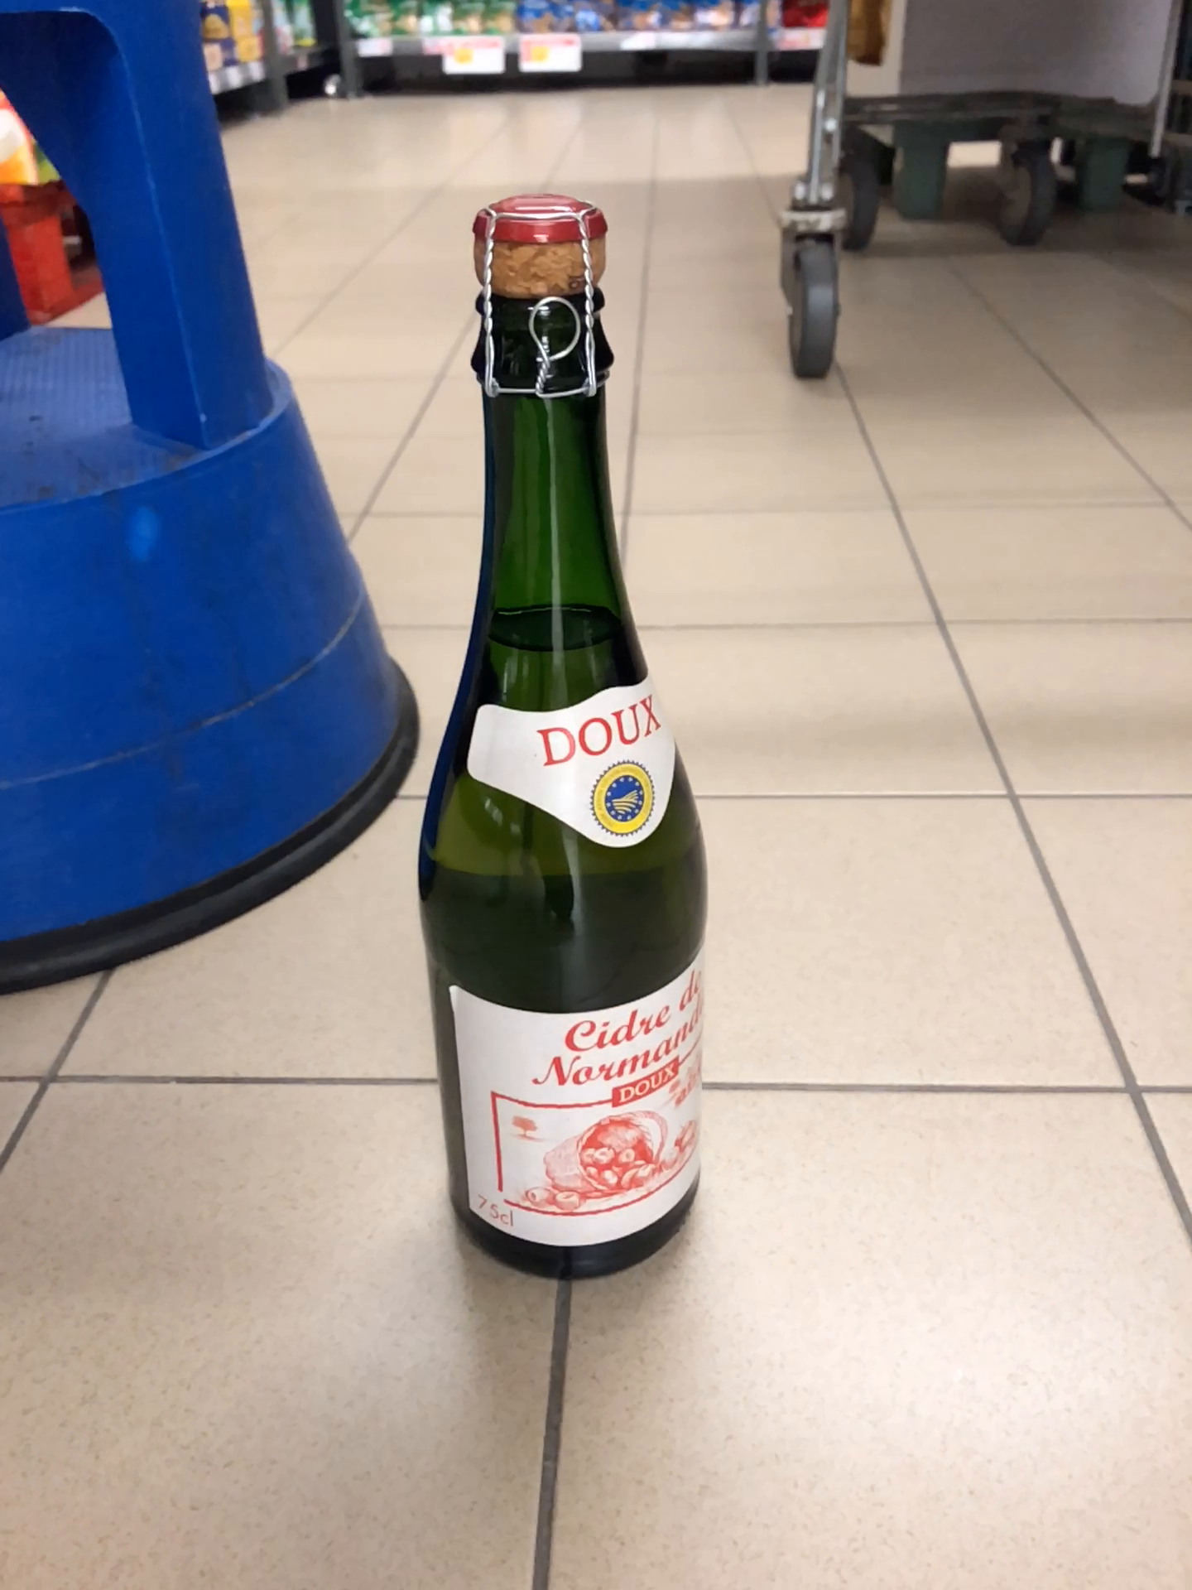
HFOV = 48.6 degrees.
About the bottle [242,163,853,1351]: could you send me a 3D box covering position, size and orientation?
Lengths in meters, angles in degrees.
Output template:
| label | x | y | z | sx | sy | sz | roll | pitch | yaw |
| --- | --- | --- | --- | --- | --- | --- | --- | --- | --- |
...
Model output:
| label | x | y | z | sx | sy | sz | roll | pitch | yaw |
| --- | --- | --- | --- | --- | --- | --- | --- | --- | --- |
| bottle | -0.010 | 0.000 | 0.349 | 0.100 | 0.288 | 0.090 | -15 | 33 | -20 |
